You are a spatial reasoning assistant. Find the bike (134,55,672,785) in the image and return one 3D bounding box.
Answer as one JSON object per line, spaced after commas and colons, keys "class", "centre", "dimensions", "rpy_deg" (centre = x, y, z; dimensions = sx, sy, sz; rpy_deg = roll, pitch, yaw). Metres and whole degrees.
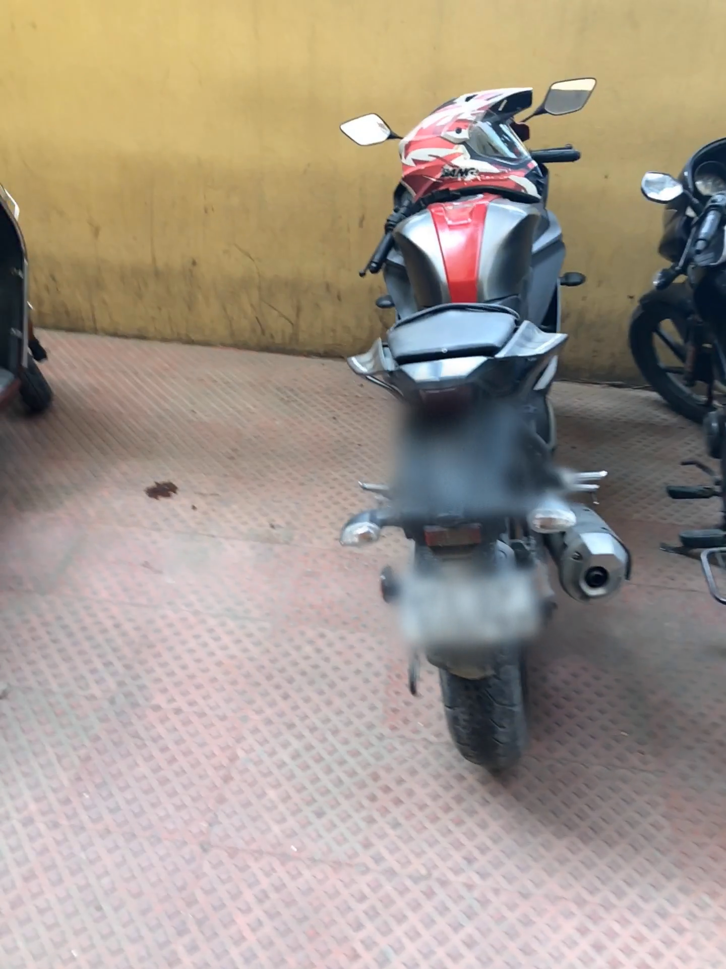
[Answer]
{"class": "bike", "centre": [0.017, -0.376, 2.001], "dimensions": [0.725, 0.870, 1.755], "rpy_deg": [2, 38, -1]}
